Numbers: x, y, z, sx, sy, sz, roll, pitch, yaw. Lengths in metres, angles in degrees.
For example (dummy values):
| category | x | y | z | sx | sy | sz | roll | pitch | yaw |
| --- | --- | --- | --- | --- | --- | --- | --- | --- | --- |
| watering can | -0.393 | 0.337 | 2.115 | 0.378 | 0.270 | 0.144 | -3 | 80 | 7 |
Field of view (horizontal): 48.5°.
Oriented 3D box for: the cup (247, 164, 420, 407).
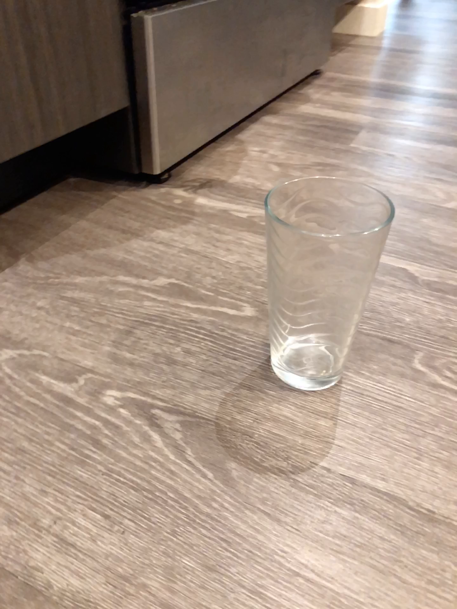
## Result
| category | x | y | z | sx | sy | sz | roll | pitch | yaw |
| --- | --- | --- | --- | --- | --- | --- | --- | --- | --- |
| cup | 0.075 | -0.016 | 0.384 | 0.090 | 0.139 | 0.090 | 1 | 38 | -1 |
